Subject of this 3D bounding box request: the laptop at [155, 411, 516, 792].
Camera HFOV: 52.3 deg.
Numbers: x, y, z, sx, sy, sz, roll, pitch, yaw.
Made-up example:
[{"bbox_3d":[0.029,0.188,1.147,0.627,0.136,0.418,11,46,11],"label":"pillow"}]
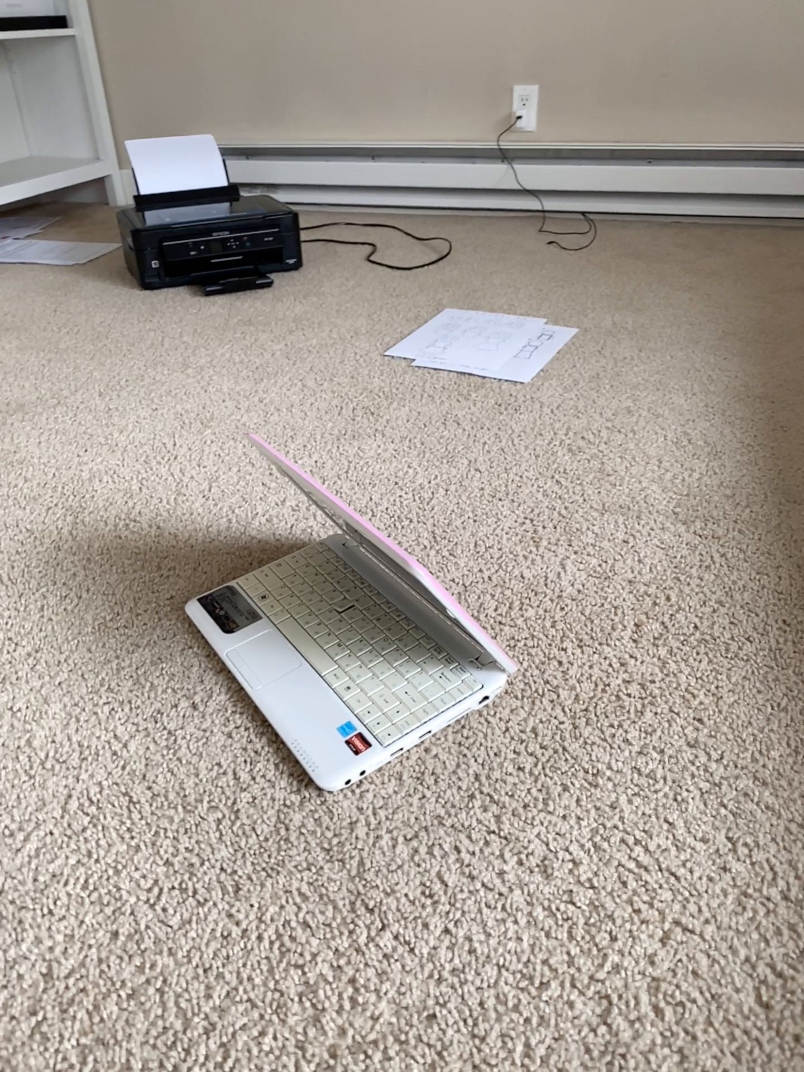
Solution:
[{"bbox_3d":[-0.067,0.034,0.728,0.188,0.147,0.287,-24,38,-26],"label":"laptop"}]
